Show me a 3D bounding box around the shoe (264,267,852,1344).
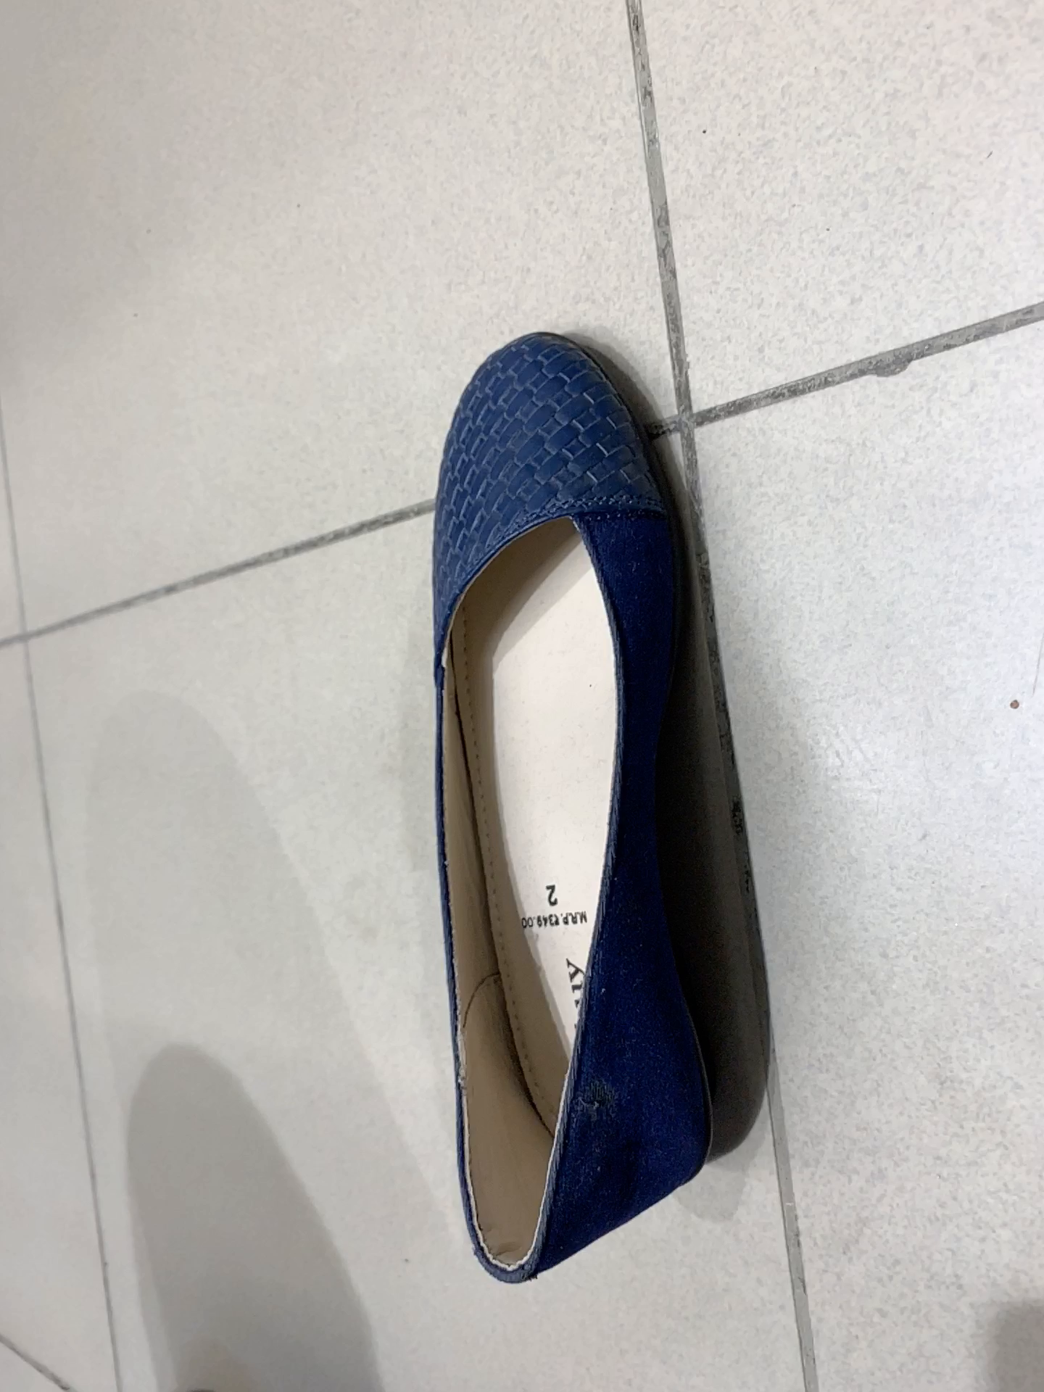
[{"bbox_3d":[0.004,0.024,0.271,0.091,0.060,0.220,-15,84,43],"label":"shoe"}]
